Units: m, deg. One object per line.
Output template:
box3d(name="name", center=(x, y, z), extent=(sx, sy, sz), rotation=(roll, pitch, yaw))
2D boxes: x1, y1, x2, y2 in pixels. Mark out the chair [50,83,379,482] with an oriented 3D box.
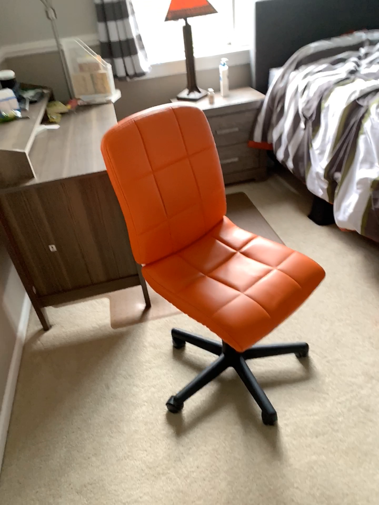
box3d(name="chair", center=(0.096, 0.044, 1.206), extent=(0.594, 0.904, 0.601), rotation=(-29, 40, -29))
